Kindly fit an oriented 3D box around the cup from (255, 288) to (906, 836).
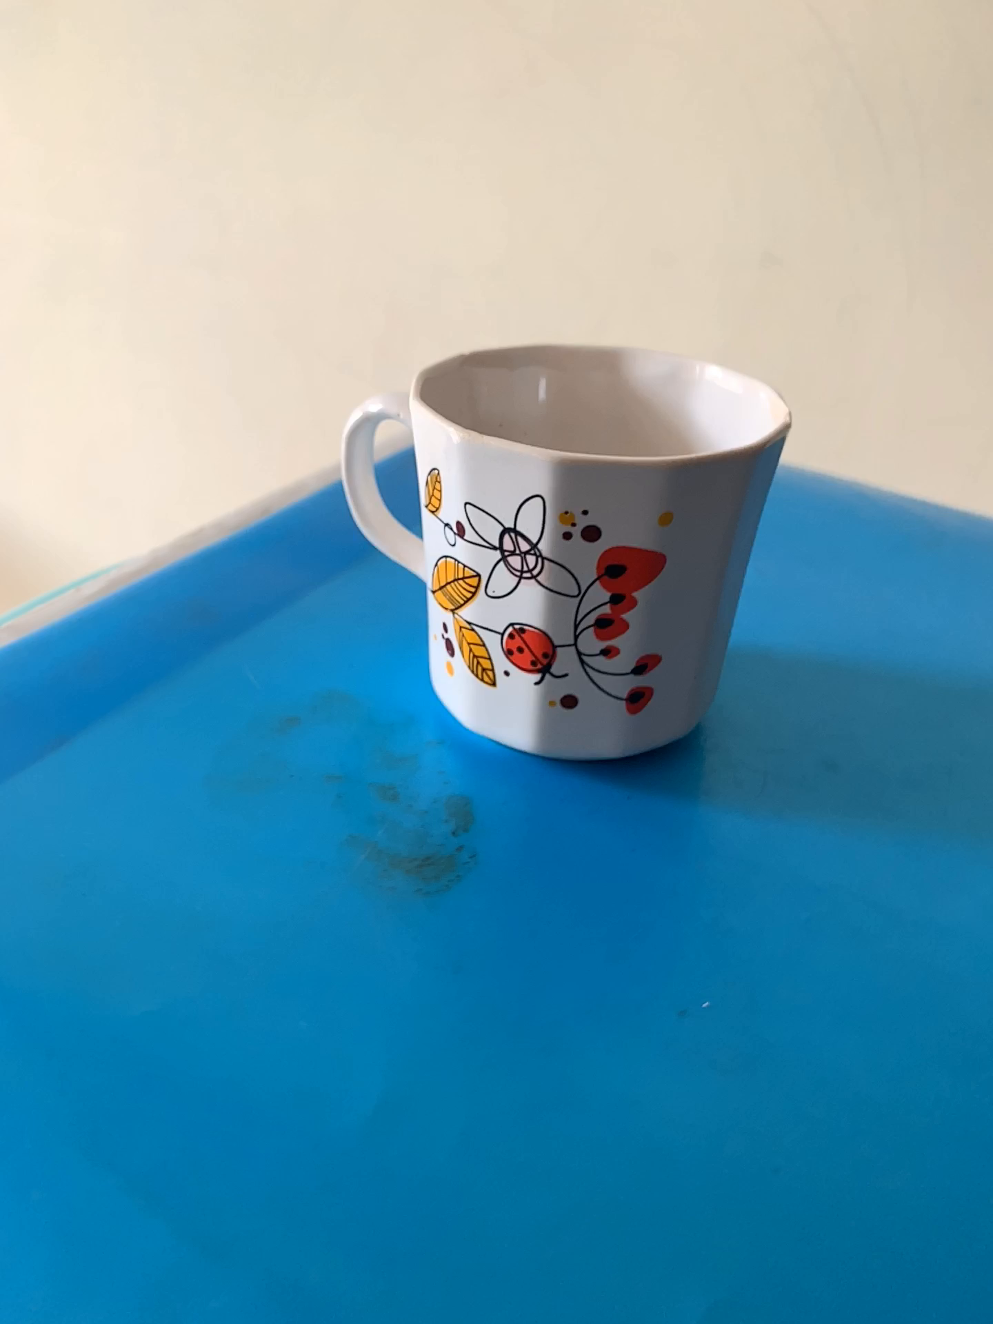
[{"bbox_3d":[0.013,-0.029,0.211,0.100,0.060,0.070,27,38,29],"label":"cup"}]
